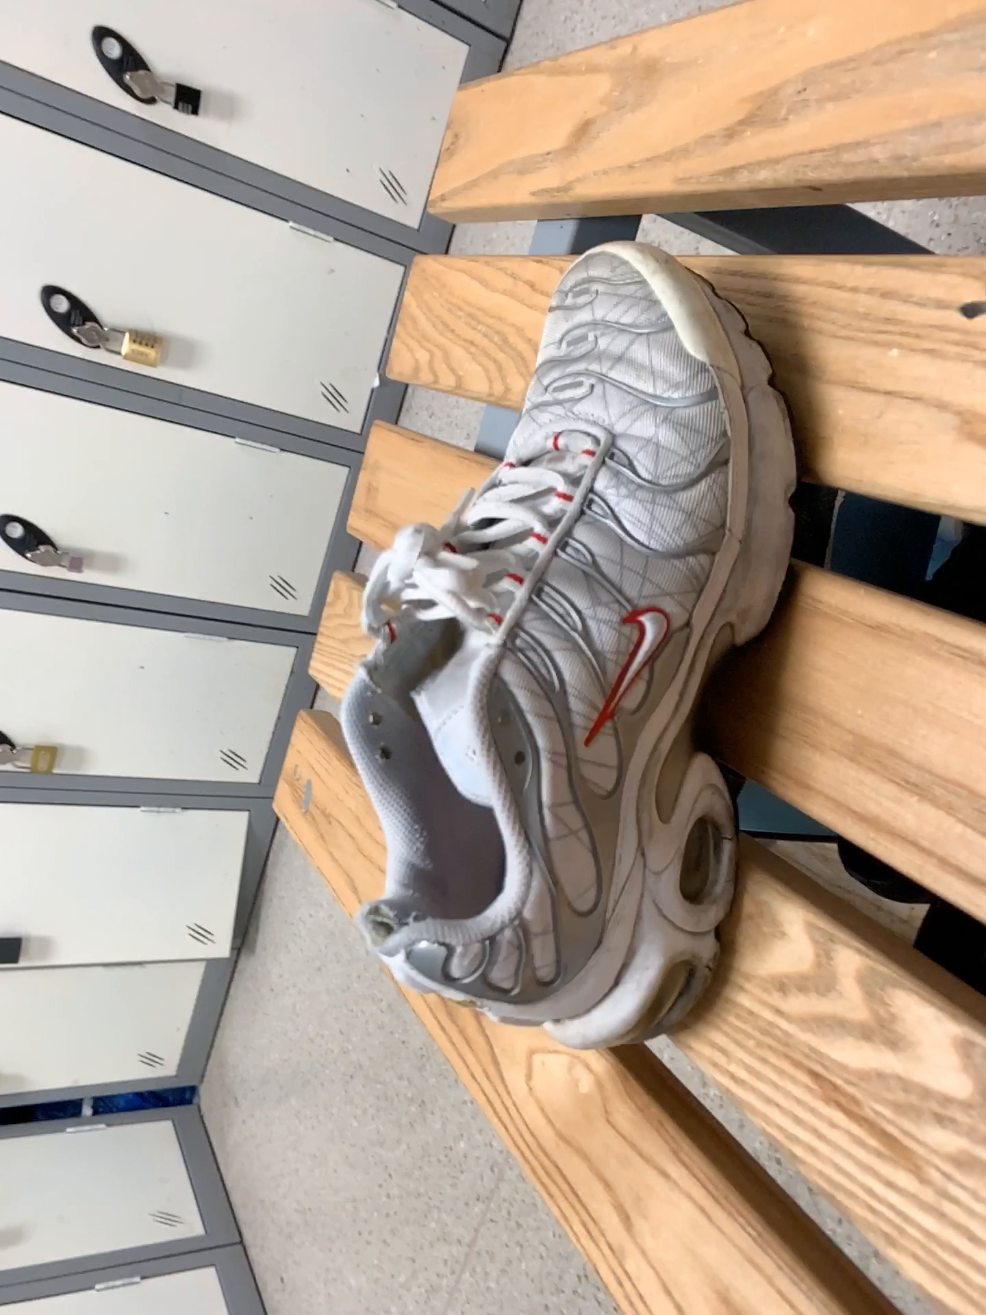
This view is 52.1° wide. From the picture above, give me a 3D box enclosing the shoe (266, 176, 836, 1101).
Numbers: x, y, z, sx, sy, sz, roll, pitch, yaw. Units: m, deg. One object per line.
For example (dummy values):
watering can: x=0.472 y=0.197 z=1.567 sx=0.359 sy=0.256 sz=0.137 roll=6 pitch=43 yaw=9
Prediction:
shoe: x=0.014 y=-0.002 z=0.314 sx=0.101 sy=0.105 sz=0.226 roll=7 pitch=88 yaw=58
